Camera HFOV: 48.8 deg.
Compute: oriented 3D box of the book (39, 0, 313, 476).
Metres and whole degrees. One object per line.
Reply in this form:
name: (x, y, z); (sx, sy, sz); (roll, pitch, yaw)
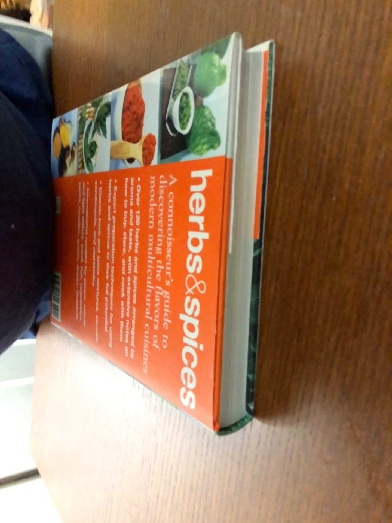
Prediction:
book: (-0.049, -0.024, 0.305); (0.271, 0.040, 0.210); (12, 101, 53)
